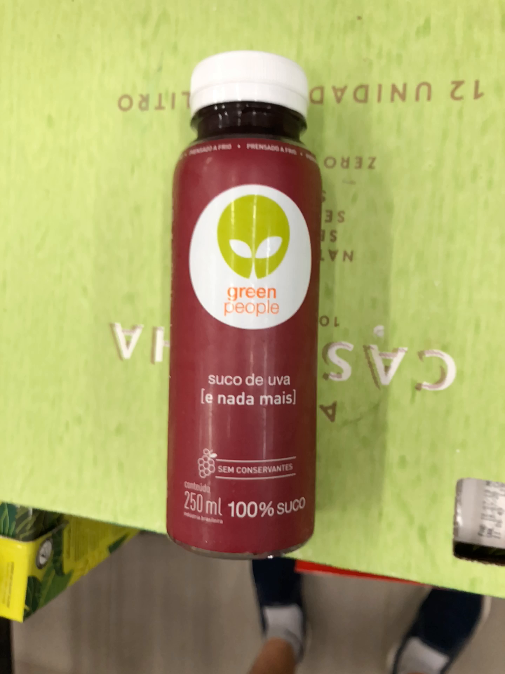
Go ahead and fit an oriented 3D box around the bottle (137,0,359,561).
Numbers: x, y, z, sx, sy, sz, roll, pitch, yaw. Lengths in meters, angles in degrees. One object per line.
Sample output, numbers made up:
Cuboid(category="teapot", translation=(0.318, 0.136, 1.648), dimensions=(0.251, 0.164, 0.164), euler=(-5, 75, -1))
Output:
Cuboid(category="bottle", translation=(-0.005, -0.020, 0.198), dimensions=(0.060, 0.060, 0.170), euler=(2, 93, -7))
